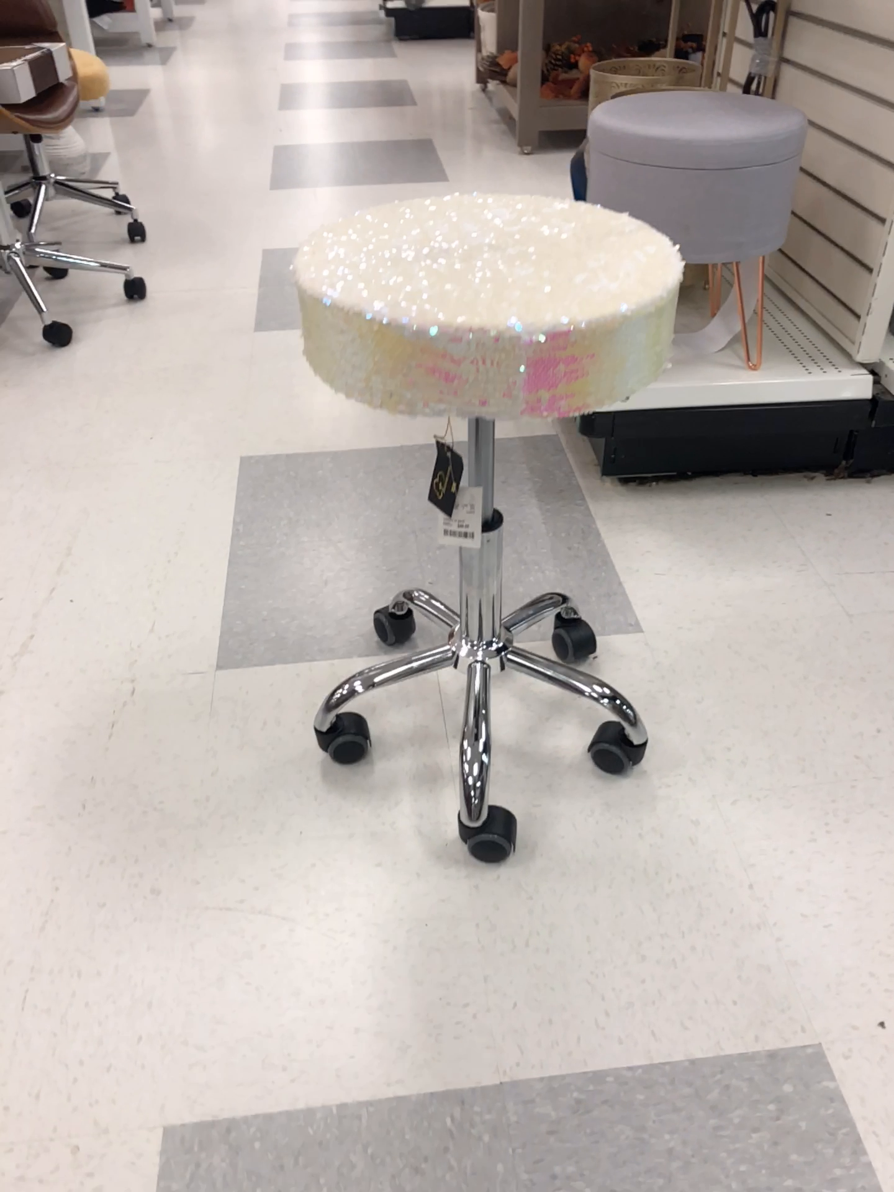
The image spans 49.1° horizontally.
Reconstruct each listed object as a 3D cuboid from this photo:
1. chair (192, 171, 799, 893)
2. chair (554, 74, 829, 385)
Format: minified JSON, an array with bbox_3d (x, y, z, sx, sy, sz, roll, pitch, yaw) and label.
[{"bbox_3d":[0.022,-0.079,1.061,0.436,0.591,0.468,-4,37,-4],"label":"chair"},{"bbox_3d":[0.359,-0.589,1.566,0.306,0.383,0.307,-4,37,-4],"label":"chair"}]
